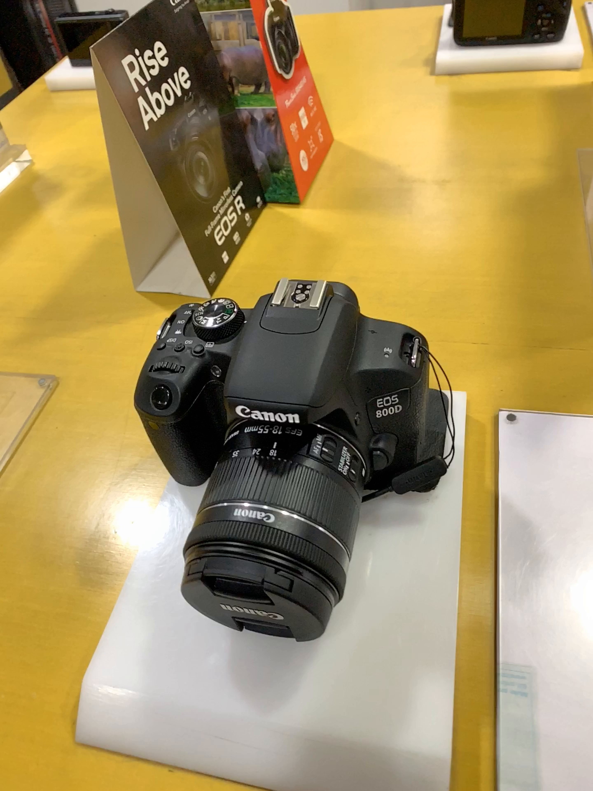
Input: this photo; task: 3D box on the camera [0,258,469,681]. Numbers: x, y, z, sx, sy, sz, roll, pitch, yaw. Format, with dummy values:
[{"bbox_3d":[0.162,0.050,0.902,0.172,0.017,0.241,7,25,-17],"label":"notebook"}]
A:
[{"bbox_3d":[-0.007,0.021,0.250,0.140,0.090,0.130,4,48,14],"label":"camera"}]
